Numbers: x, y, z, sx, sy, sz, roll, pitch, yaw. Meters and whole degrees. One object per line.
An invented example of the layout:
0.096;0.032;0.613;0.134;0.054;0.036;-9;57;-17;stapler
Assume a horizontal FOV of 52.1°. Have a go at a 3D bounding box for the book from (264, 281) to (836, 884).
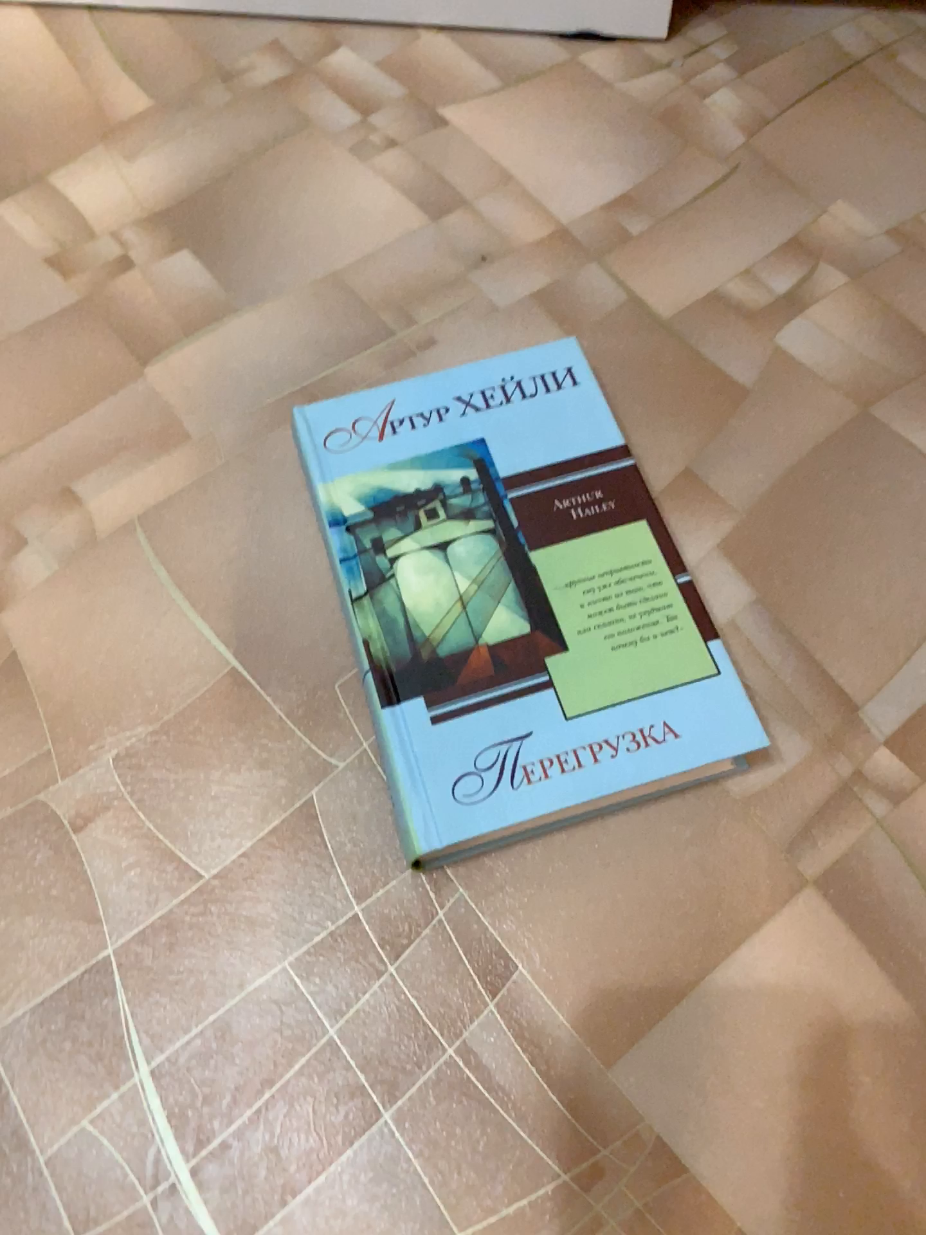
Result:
0.022;-0.026;0.371;0.150;0.040;0.211;-17;63;-6;book
